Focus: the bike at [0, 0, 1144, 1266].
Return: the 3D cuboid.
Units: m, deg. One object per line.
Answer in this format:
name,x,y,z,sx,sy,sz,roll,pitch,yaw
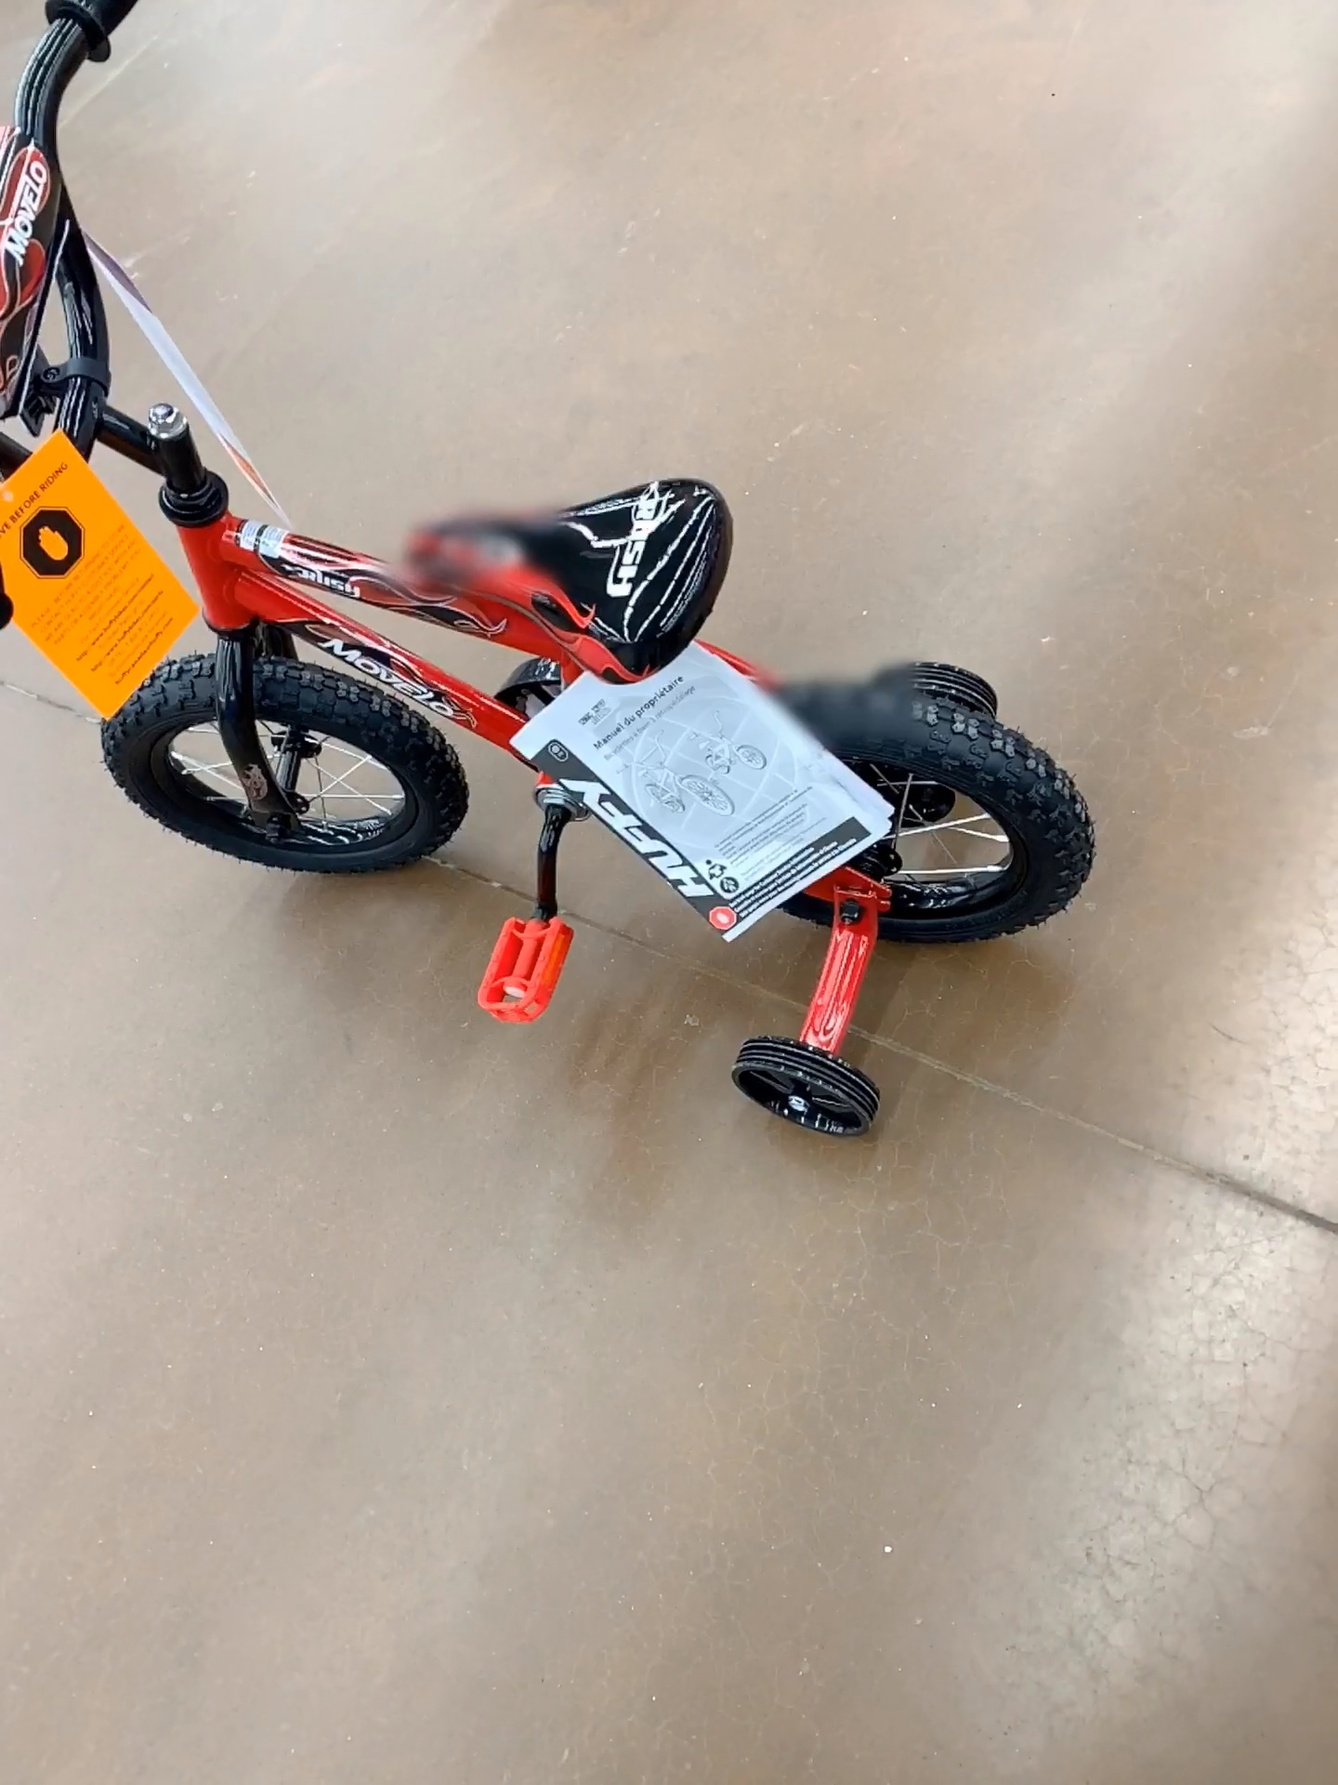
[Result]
bike,-0.147,-0.164,0.780,0.736,0.605,0.440,7,61,19
